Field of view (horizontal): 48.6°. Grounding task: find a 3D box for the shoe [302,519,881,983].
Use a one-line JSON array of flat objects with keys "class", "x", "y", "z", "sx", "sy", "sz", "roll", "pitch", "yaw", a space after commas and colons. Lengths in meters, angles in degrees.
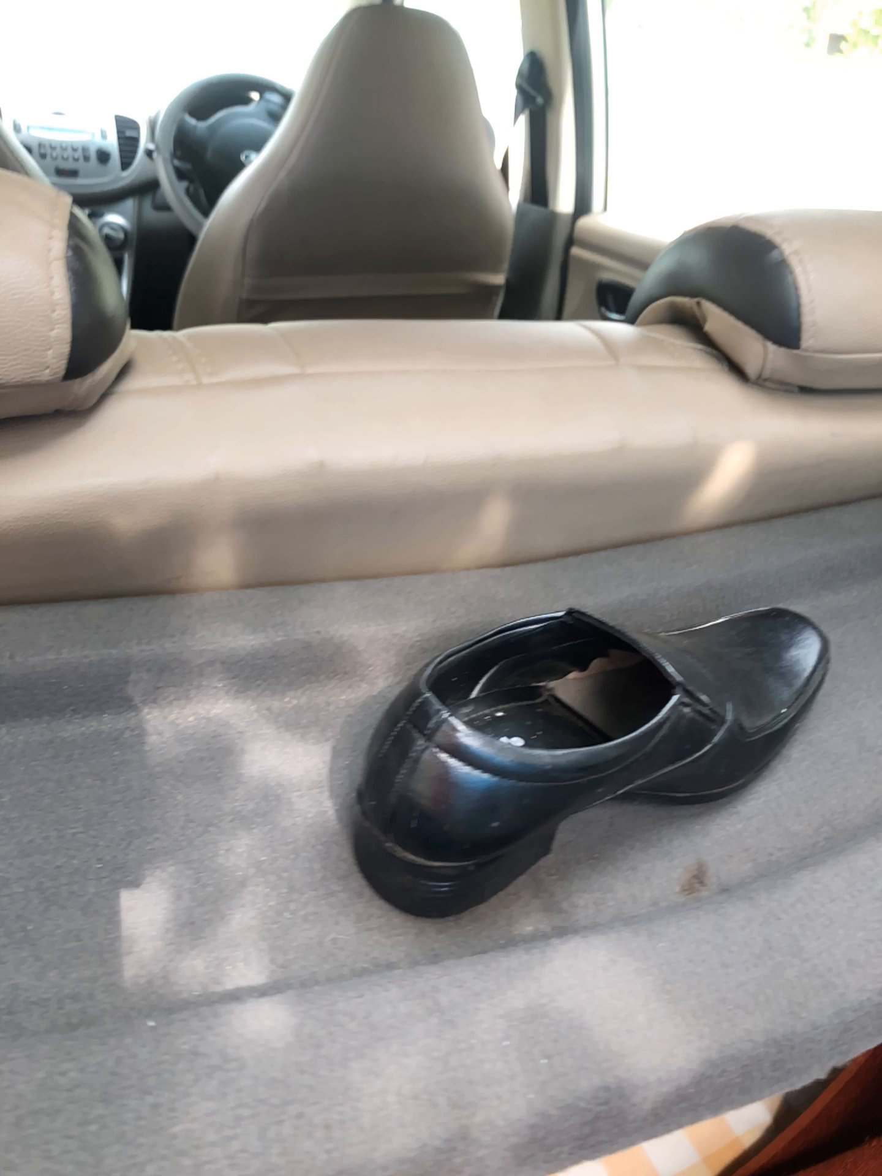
[{"class": "shoe", "x": 0.092, "y": 0.053, "z": 0.460, "sx": 0.301, "sy": 0.080, "sz": 0.100, "roll": -17, "pitch": 38, "yaw": -36}]
